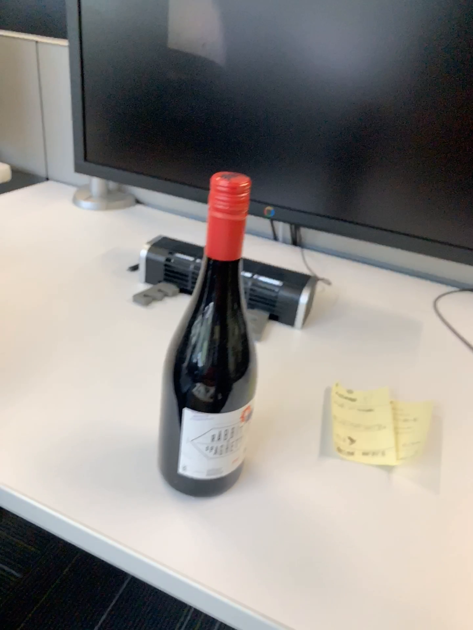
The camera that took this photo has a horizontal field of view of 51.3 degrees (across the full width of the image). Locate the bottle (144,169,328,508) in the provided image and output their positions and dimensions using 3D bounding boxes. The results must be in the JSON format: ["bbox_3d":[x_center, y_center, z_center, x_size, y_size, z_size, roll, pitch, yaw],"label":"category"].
[{"bbox_3d":[-0.017,0.023,0.434,0.097,0.270,0.111,-6,32,-23],"label":"bottle"}]
